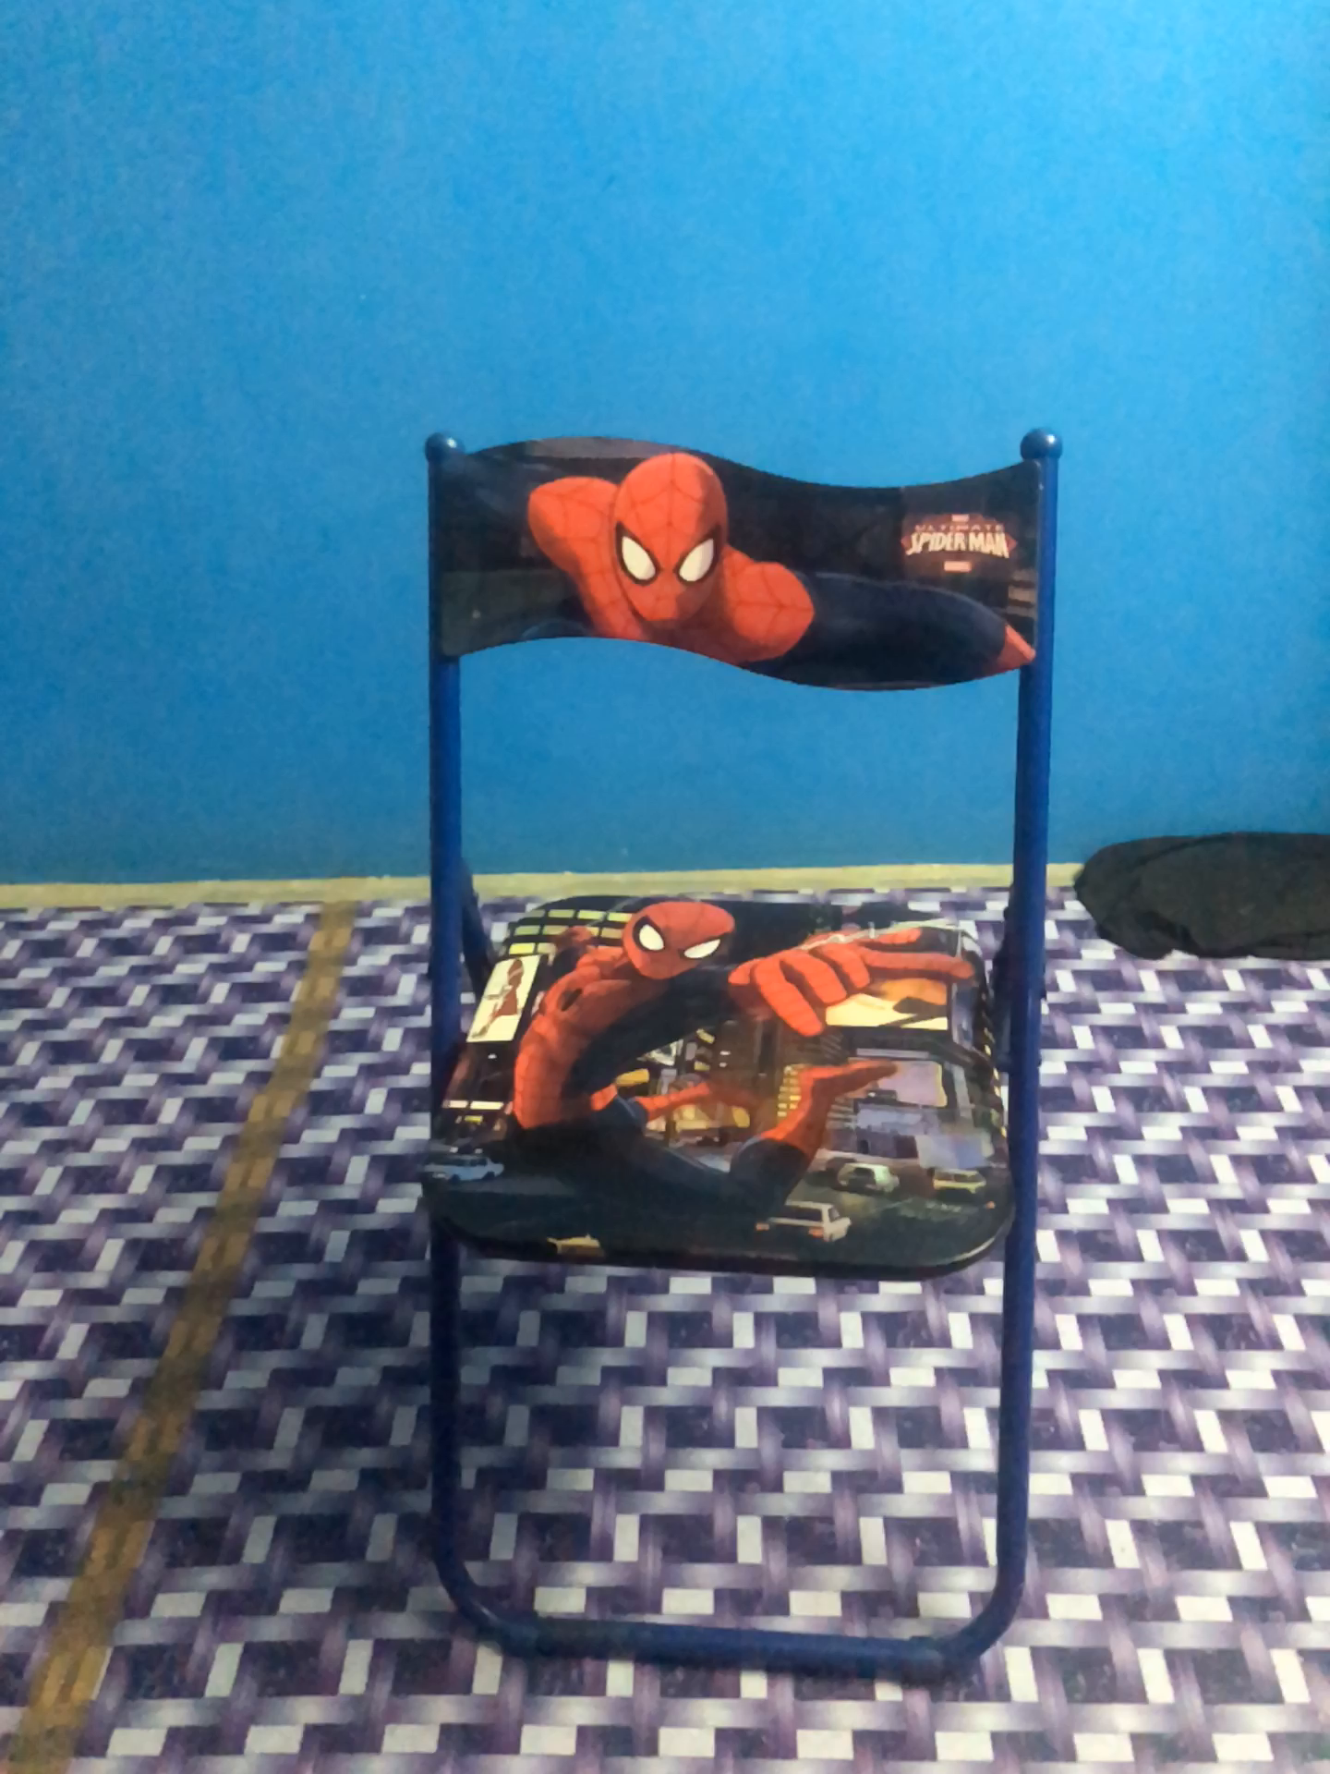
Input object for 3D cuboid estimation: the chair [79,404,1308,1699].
[{"bbox_3d":[0.031,0.090,1.027,0.510,0.686,0.563,1,34,4],"label":"chair"}]
